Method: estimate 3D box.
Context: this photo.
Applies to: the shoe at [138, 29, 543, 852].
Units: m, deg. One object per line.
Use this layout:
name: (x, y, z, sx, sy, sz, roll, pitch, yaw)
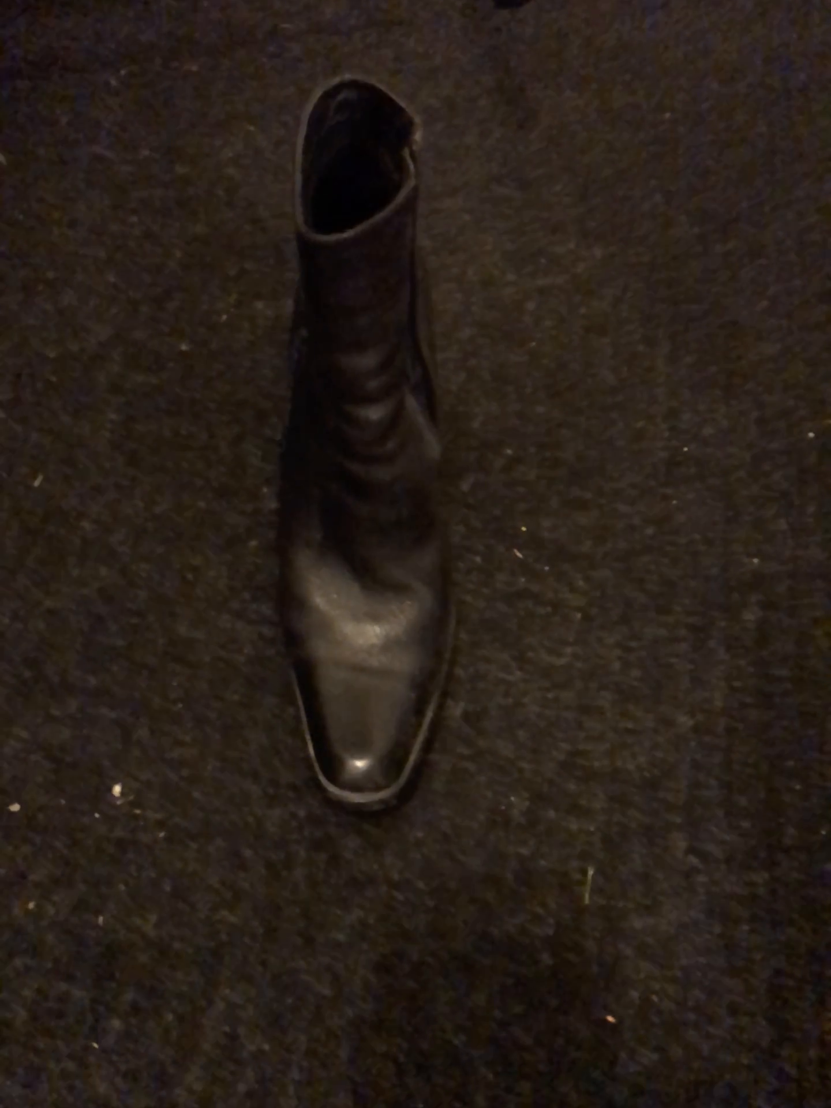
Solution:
shoe: (-0.020, -0.039, 0.362, 0.090, 0.209, 0.241, 1, 53, -2)
